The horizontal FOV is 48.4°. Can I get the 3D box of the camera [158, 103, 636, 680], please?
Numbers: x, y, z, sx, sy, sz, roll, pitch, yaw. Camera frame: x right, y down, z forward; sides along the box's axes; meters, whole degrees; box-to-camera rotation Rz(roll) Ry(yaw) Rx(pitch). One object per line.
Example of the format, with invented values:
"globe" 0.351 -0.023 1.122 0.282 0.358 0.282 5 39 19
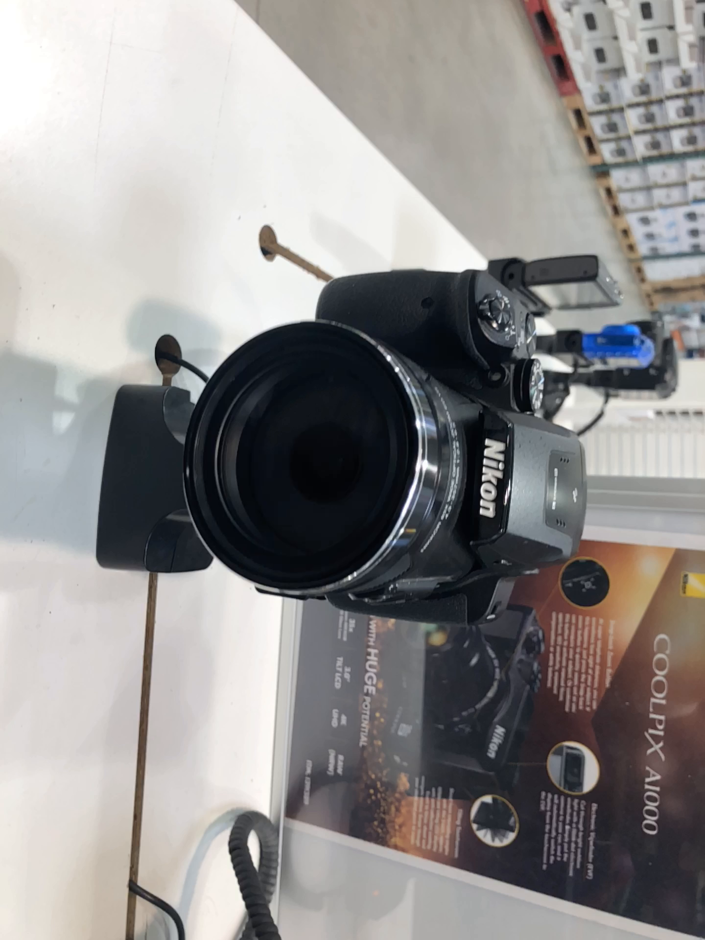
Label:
"camera" 0.031 -0.015 0.278 0.151 0.109 0.140 14 79 -64
